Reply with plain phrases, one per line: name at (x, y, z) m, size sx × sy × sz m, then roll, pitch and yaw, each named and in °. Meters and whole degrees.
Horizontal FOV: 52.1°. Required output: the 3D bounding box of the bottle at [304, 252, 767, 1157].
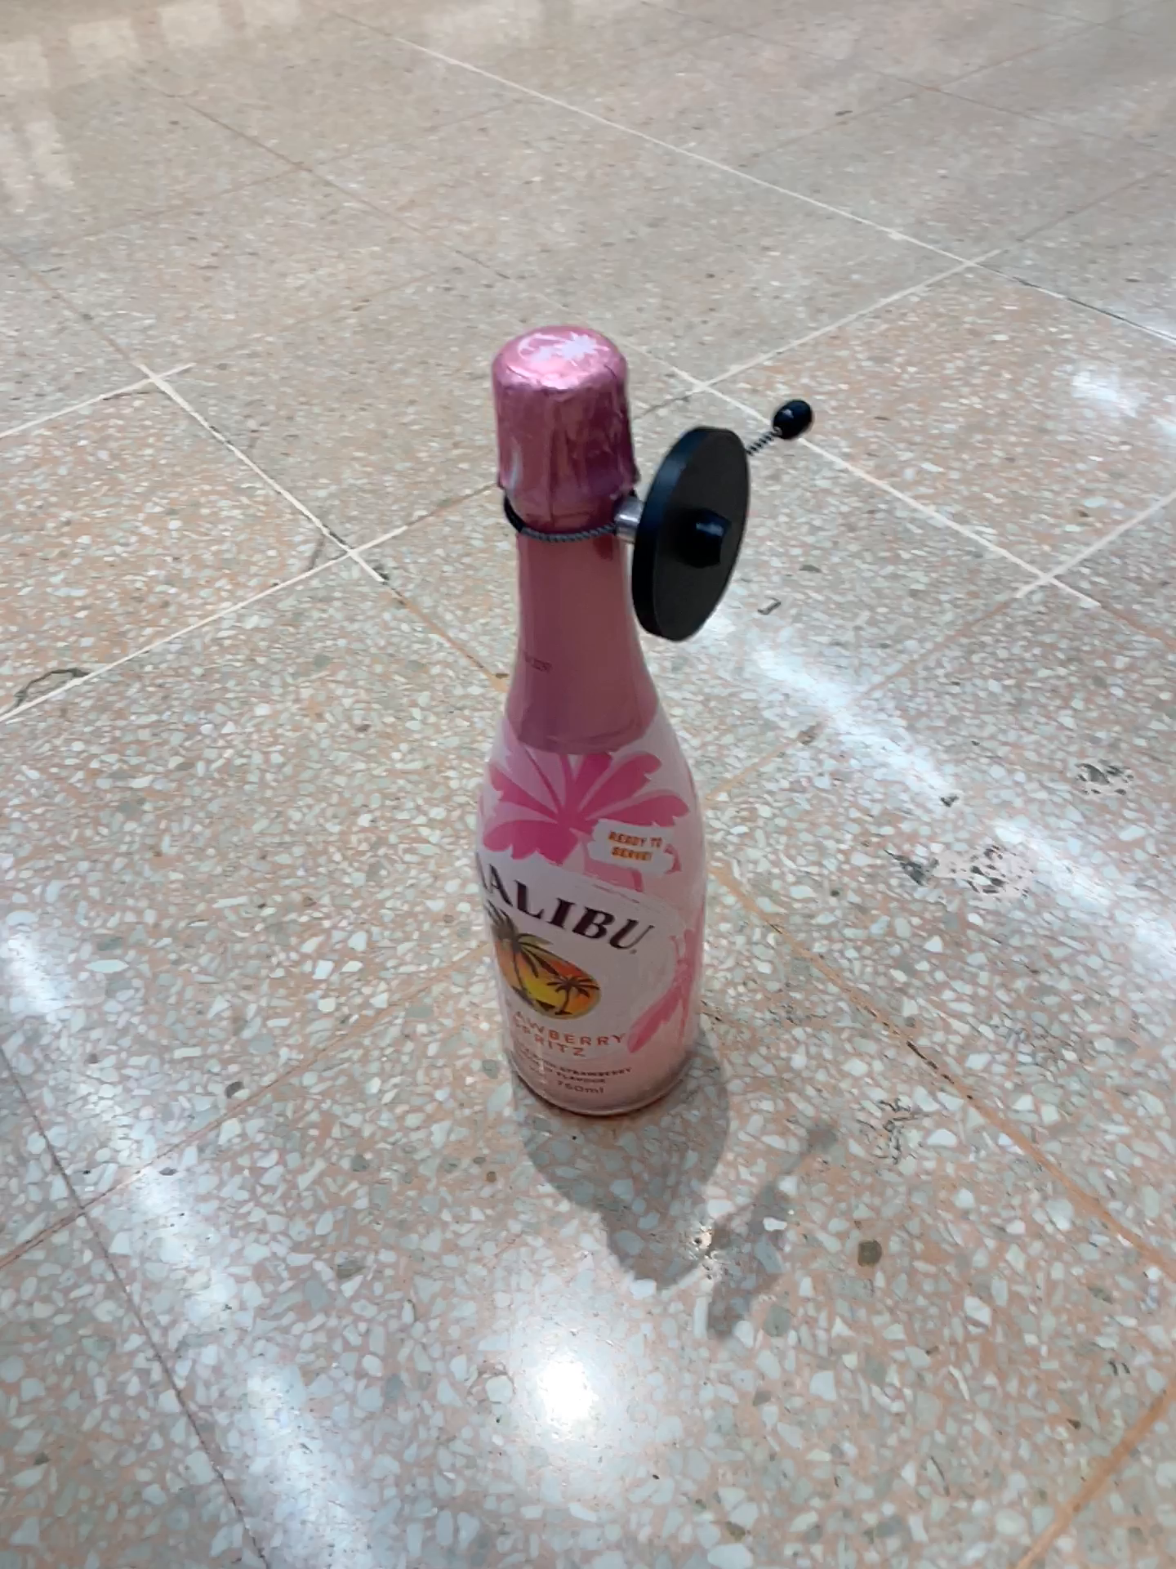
bottle at (-0.005, 0.001, 0.400) m, size 0.080 × 0.307 × 0.080 m, roll -2°, pitch 46°, yaw 2°
